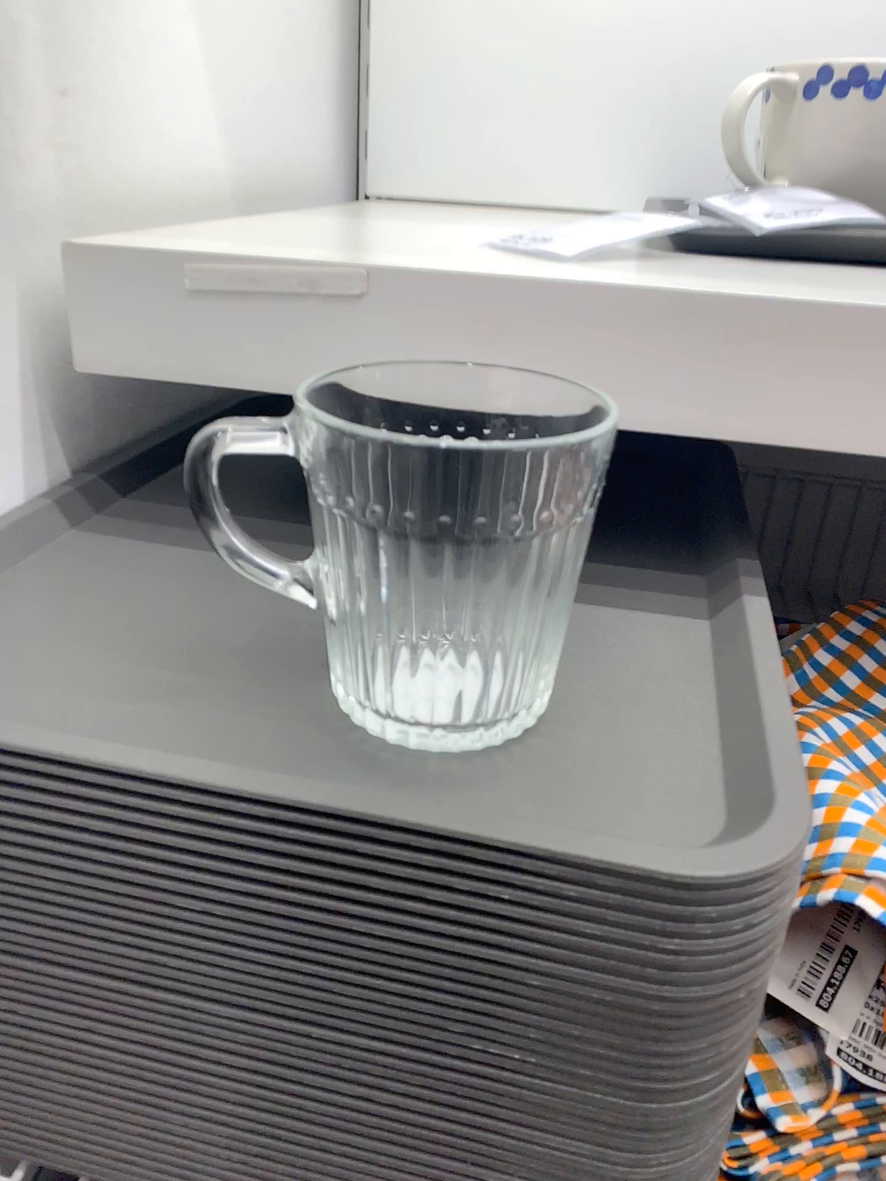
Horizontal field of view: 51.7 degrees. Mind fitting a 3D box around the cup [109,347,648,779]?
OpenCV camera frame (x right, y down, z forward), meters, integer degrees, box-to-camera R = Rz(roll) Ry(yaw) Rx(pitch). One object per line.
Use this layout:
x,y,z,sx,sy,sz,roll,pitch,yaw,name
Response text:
-0.013,-0.012,0.238,0.110,0.080,0.080,4,24,2,cup
